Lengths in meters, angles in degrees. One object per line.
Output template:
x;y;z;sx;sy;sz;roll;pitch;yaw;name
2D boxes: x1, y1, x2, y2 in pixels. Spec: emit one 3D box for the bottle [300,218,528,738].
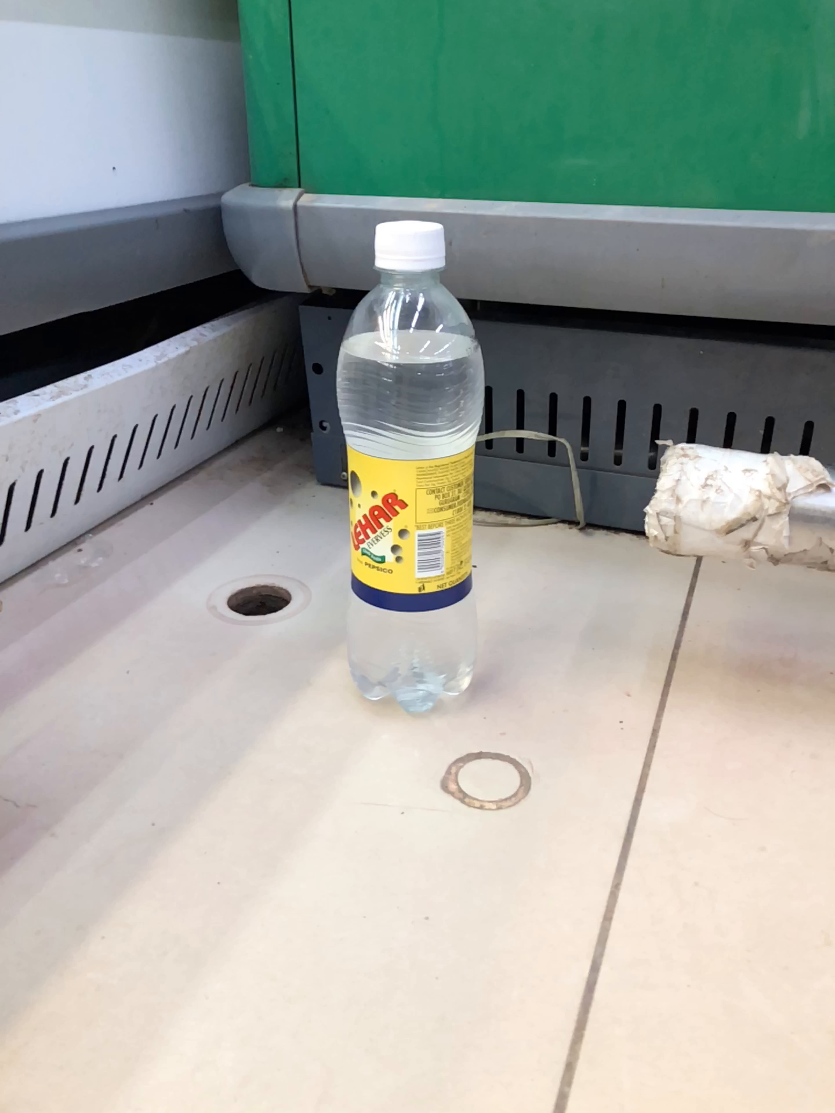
-0.001;-0.036;0.442;0.070;0.229;0.070;0;25;0;bottle
